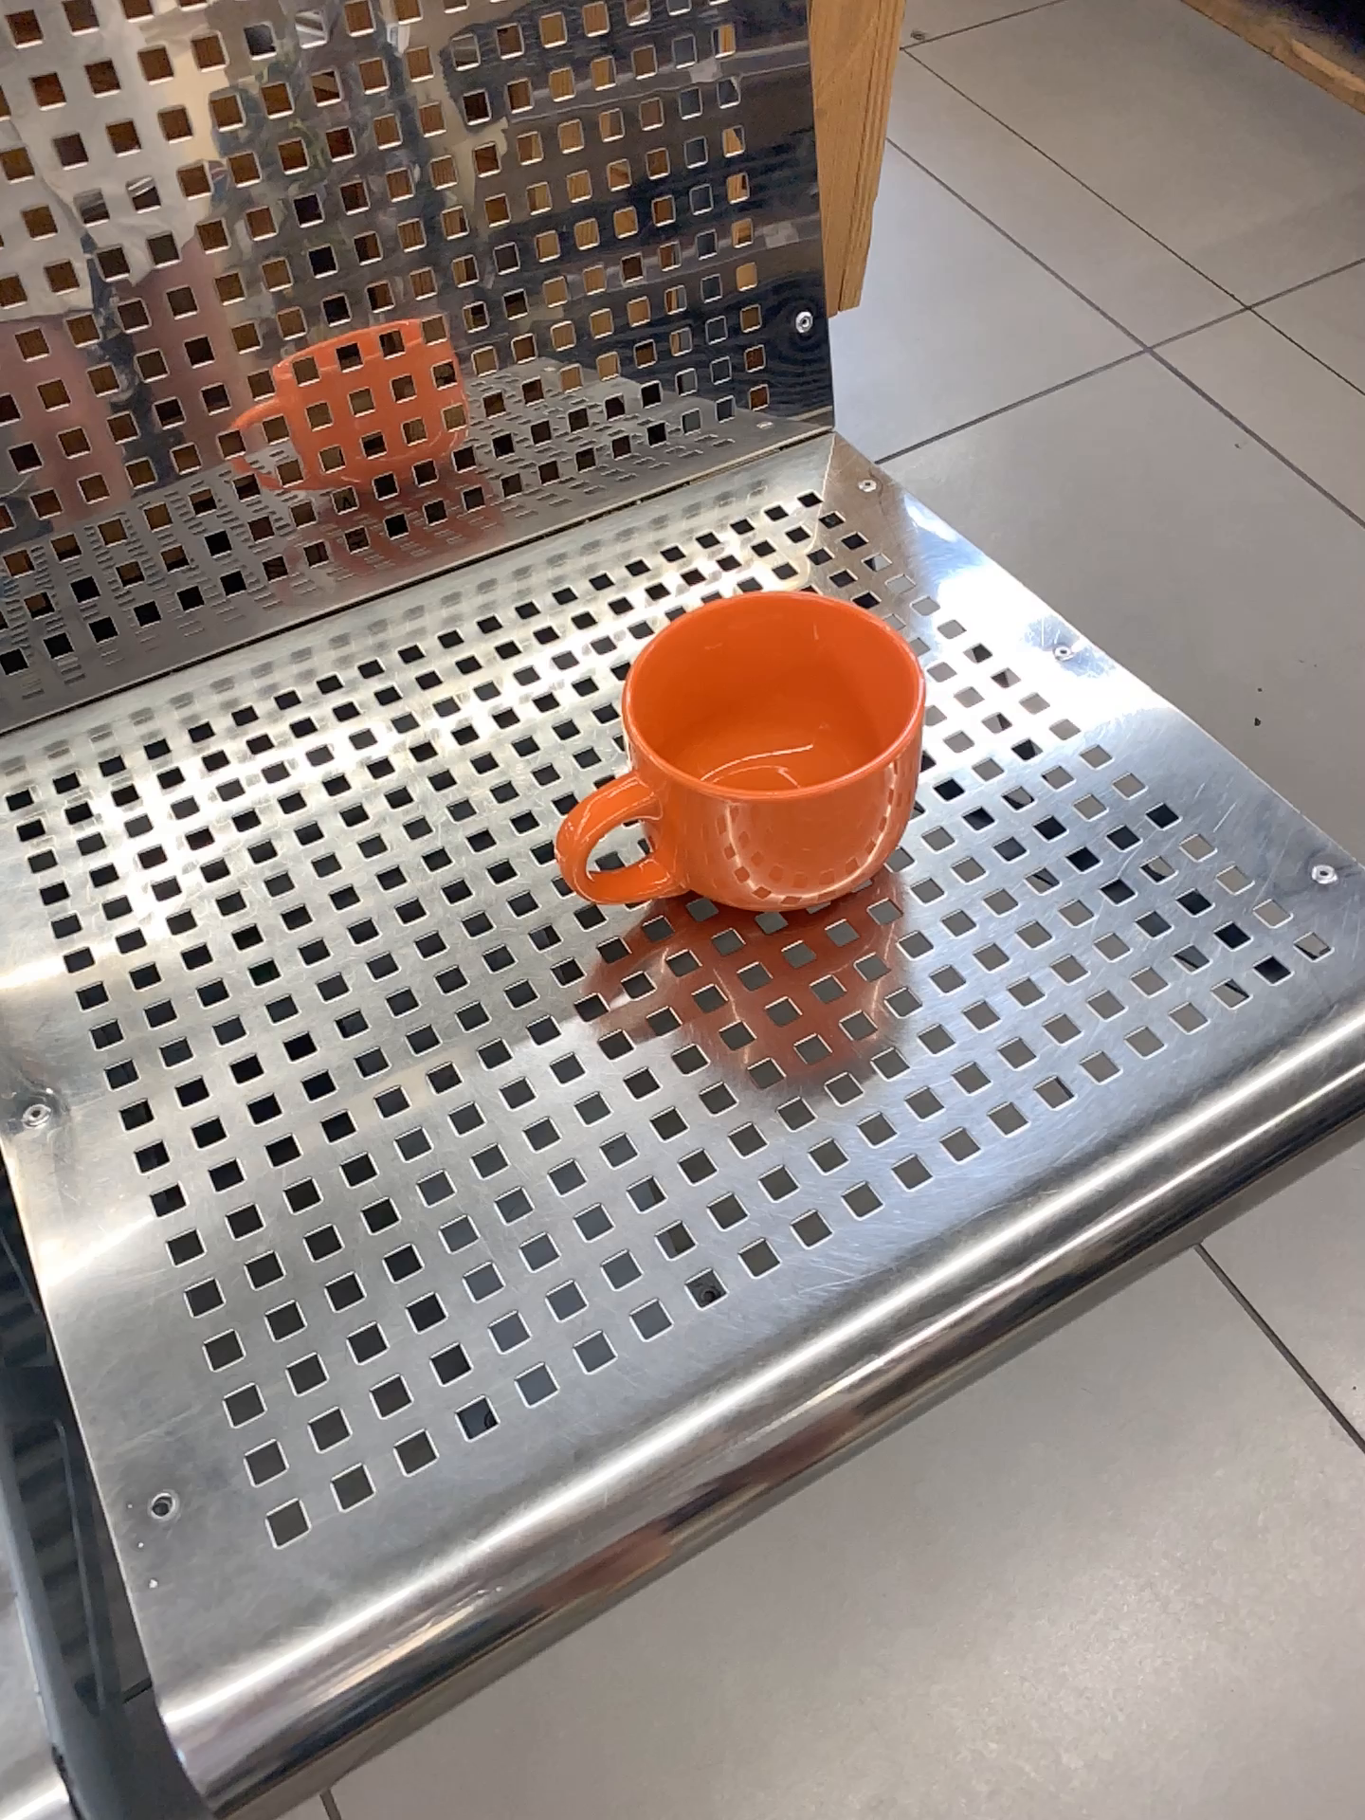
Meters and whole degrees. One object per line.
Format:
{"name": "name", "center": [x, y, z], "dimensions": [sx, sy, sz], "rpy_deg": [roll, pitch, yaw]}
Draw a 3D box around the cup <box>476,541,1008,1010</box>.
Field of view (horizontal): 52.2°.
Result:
{"name": "cup", "center": [0.021, -0.054, 0.512], "dimensions": [0.150, 0.070, 0.110], "rpy_deg": [-26, 51, -18]}
